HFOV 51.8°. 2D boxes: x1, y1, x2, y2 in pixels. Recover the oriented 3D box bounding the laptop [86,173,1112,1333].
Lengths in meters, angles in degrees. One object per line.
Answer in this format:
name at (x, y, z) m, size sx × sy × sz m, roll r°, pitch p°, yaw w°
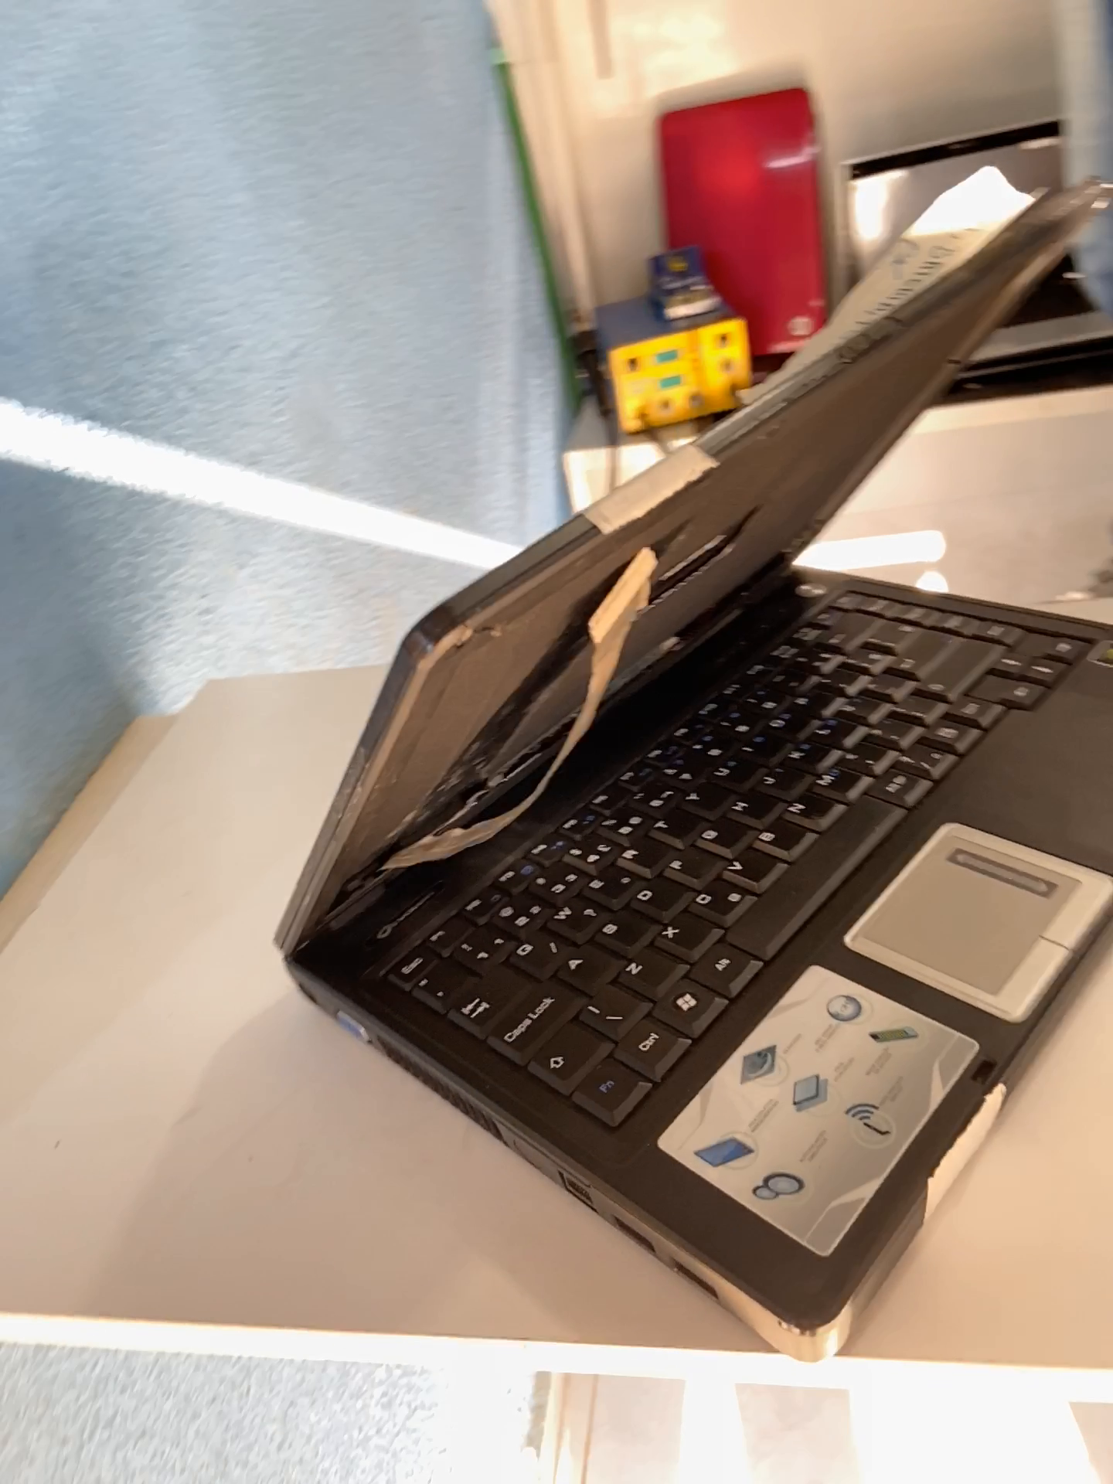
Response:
laptop at (0.073, -0.047, 0.385) m, size 0.224 × 0.175 × 0.329 m, roll 20°, pitch 46°, yaw 41°
